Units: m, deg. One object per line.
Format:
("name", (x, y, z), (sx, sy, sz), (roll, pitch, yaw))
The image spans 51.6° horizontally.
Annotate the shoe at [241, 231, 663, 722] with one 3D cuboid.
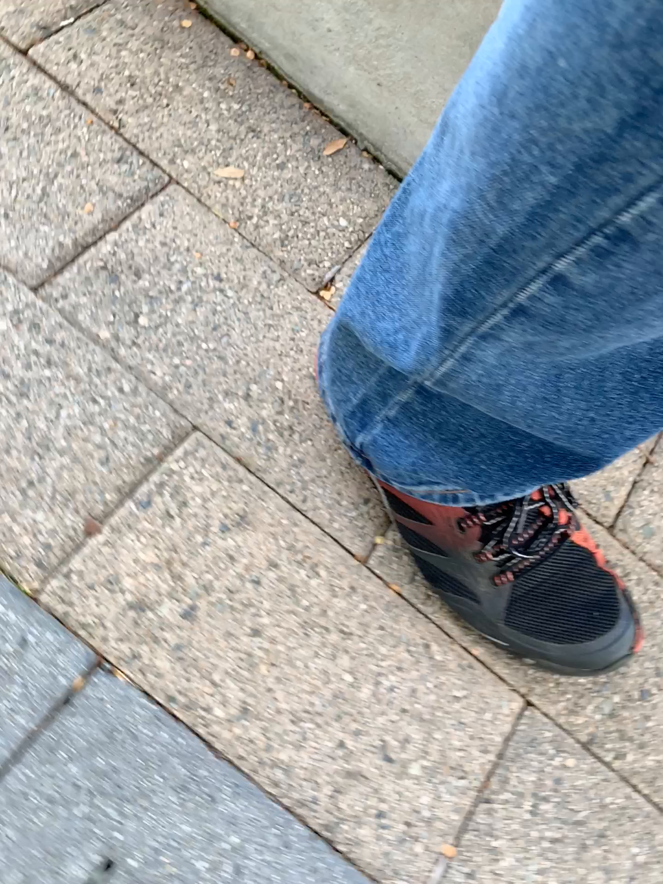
("shoe", (0.100, 0.021, 0.460), (0.306, 0.080, 0.137), (46, 63, 4))
